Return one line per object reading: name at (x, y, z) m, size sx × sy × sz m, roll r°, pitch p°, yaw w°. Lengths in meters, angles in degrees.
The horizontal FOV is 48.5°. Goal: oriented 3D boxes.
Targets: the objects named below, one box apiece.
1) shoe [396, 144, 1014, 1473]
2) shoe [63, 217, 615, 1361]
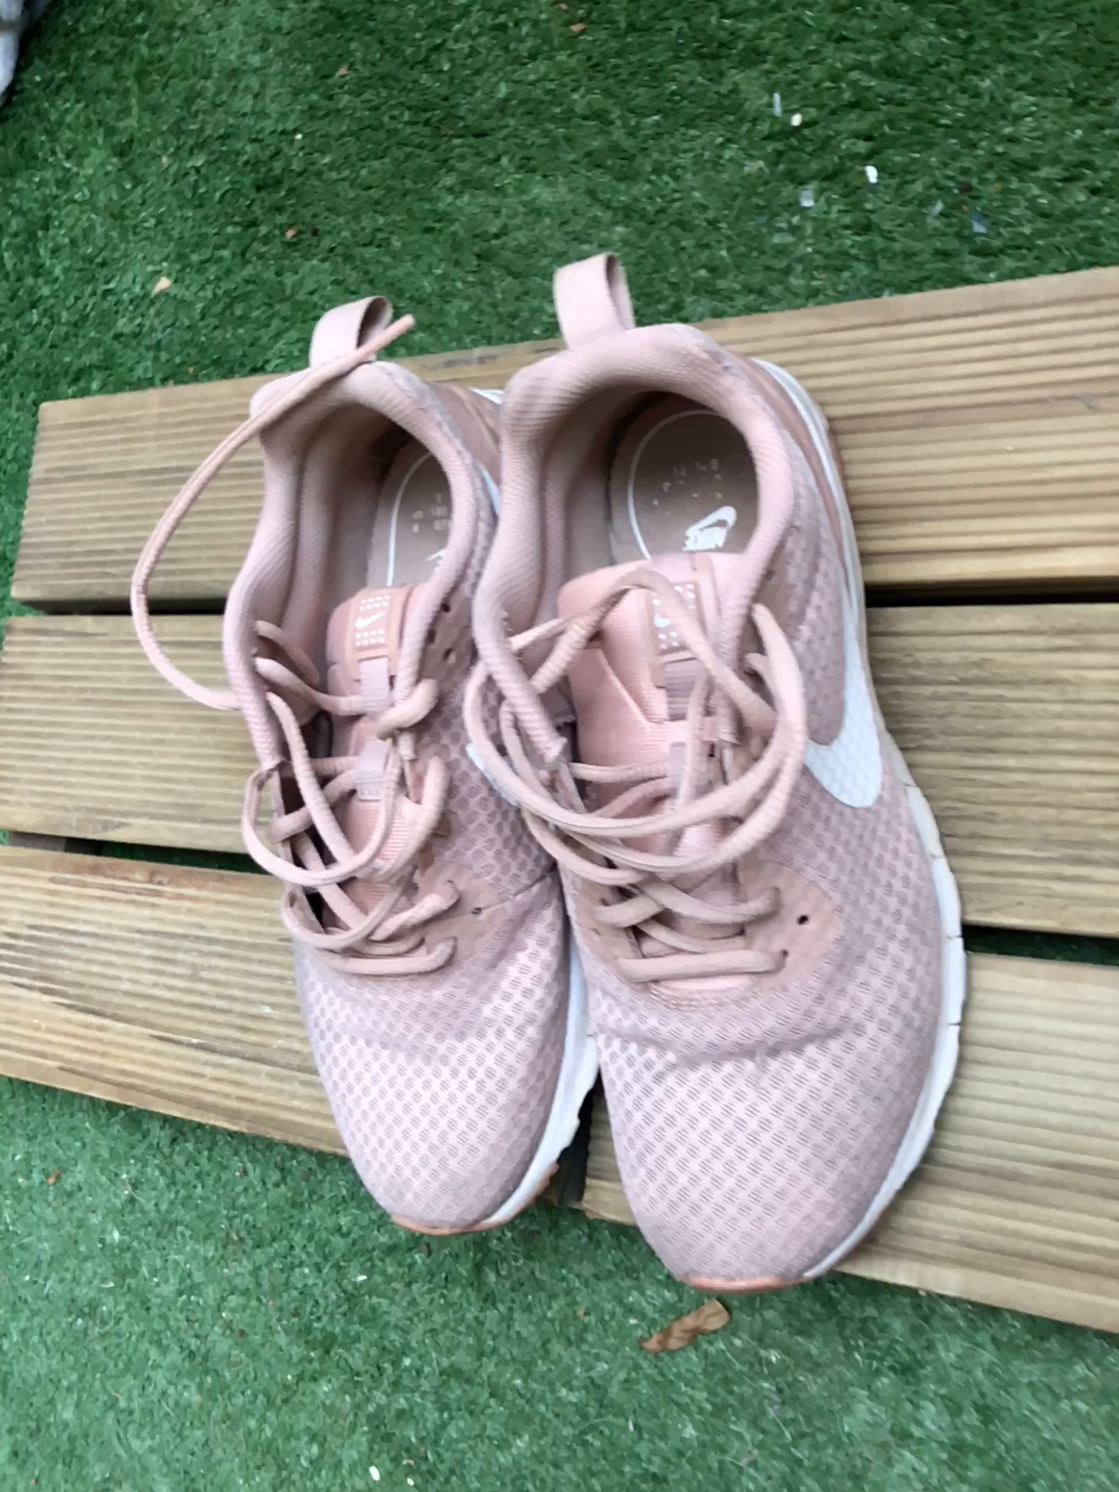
shoe at (0.034, 0.012, 0.306) m, size 0.110 × 0.090 × 0.260 m, roll -8°, pitch 79°, yaw 27°
shoe at (-0.057, 0.011, 0.345) m, size 0.110 × 0.090 × 0.260 m, roll -6°, pitch 80°, yaw 28°
